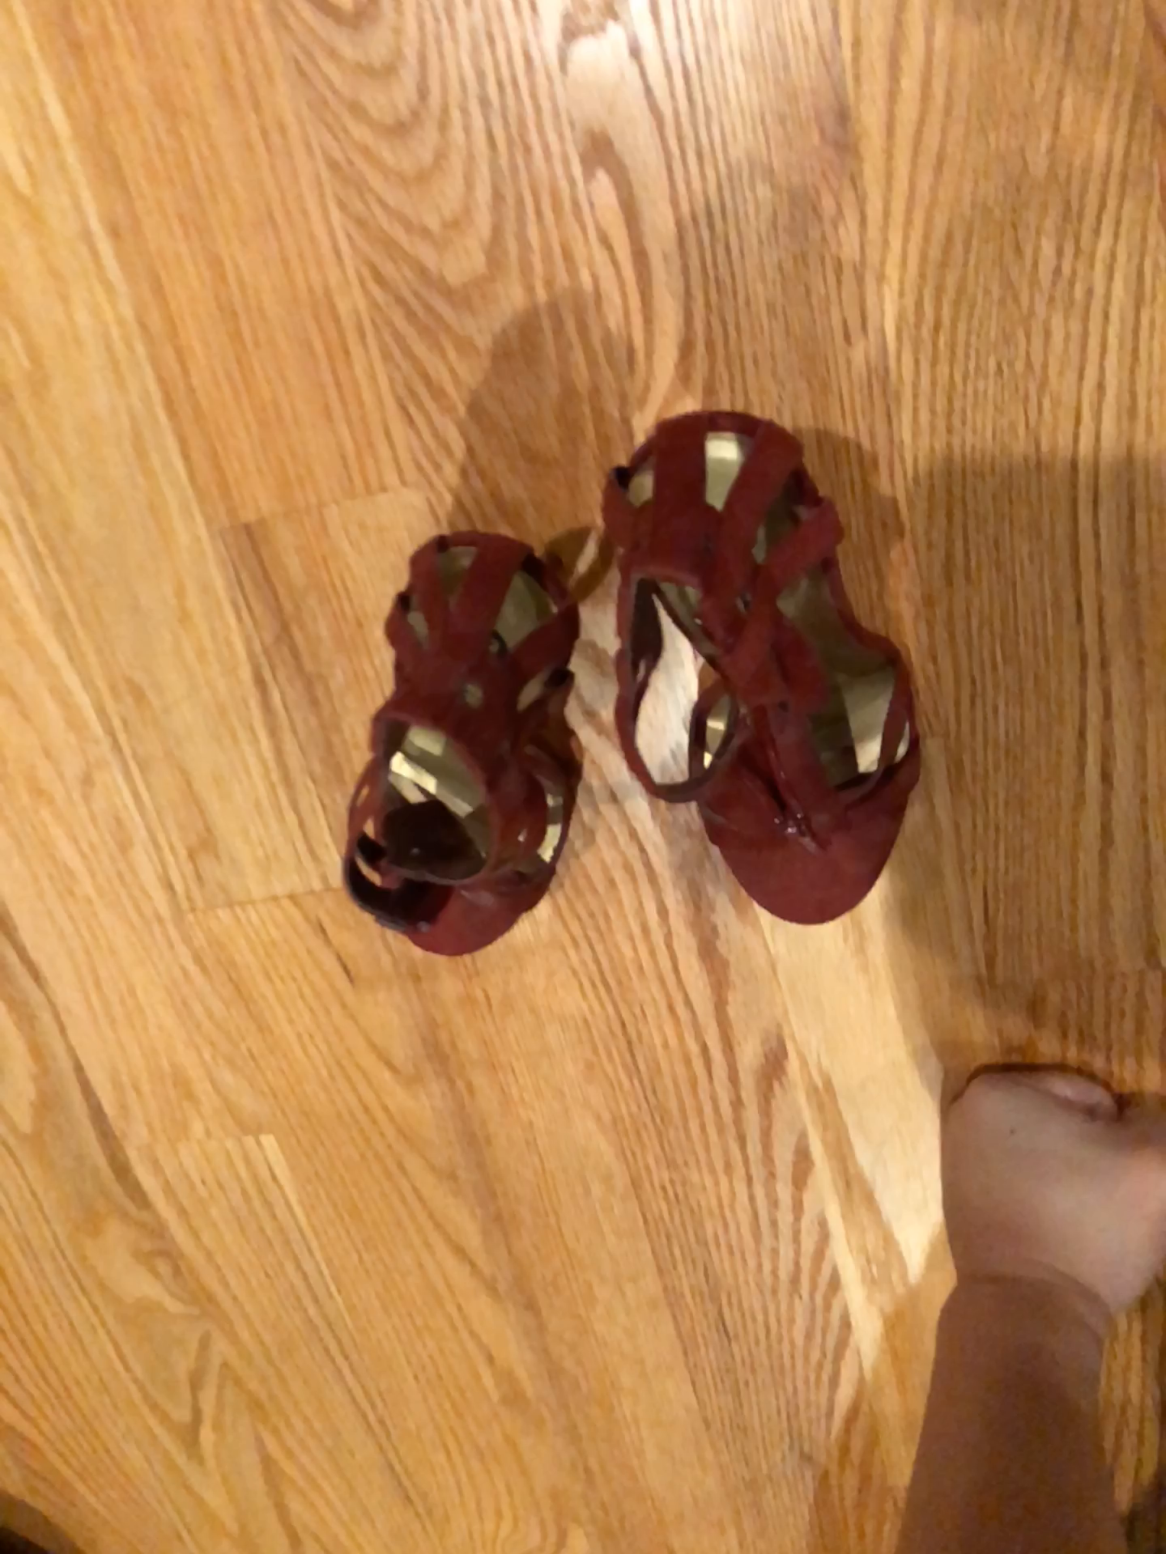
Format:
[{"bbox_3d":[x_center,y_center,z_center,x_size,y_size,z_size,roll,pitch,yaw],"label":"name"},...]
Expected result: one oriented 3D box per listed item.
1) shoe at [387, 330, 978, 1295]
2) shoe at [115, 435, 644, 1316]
[{"bbox_3d":[0.045,-0.001,0.361,0.085,0.176,0.206,-10,112,17],"label":"shoe"},{"bbox_3d":[-0.057,0.018,0.397,0.085,0.176,0.199,15,117,5],"label":"shoe"}]
